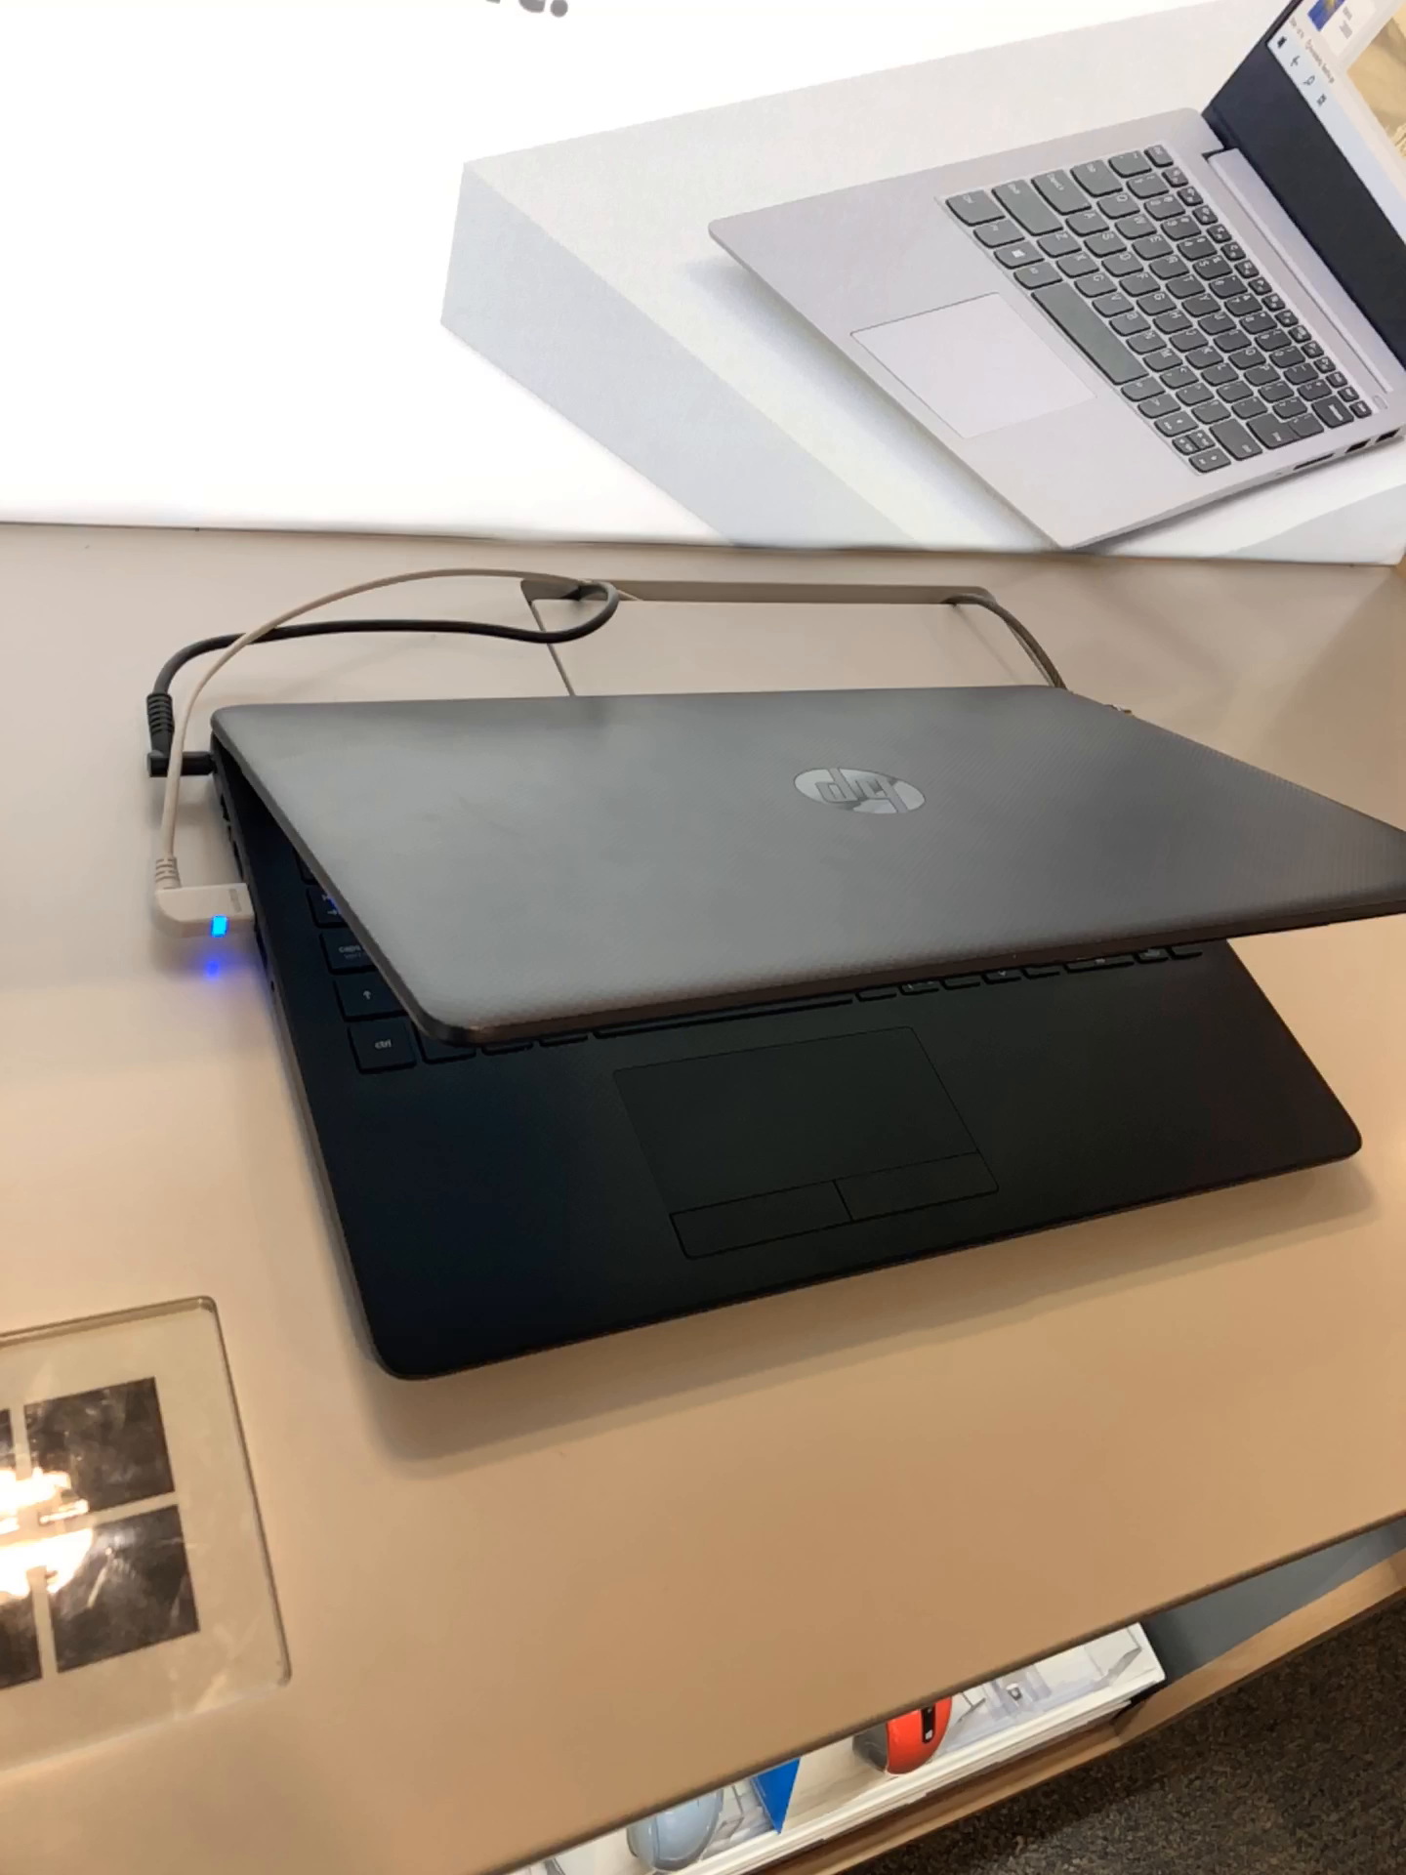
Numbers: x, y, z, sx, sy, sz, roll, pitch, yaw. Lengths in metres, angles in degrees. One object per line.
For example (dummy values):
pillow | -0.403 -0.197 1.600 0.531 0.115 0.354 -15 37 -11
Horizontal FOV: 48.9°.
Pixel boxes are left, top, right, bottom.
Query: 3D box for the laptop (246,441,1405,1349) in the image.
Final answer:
laptop | 0.059 -0.035 0.505 0.352 0.107 0.238 -6 53 -27
